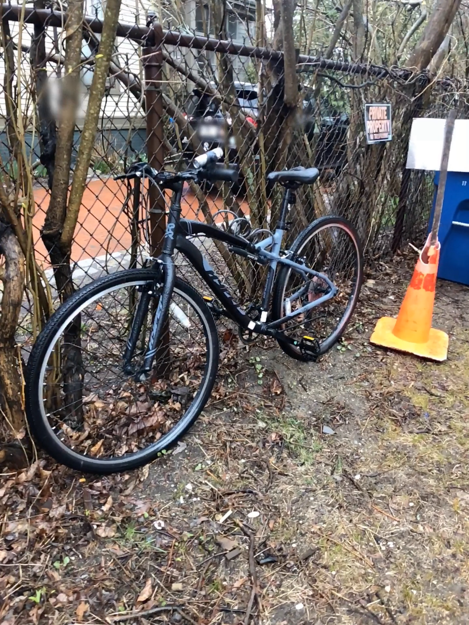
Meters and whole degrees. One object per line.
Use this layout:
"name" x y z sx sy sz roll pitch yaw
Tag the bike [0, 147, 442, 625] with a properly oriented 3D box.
"bike" 0.114 0.033 2.095 0.537 1.067 1.893 20 32 38
